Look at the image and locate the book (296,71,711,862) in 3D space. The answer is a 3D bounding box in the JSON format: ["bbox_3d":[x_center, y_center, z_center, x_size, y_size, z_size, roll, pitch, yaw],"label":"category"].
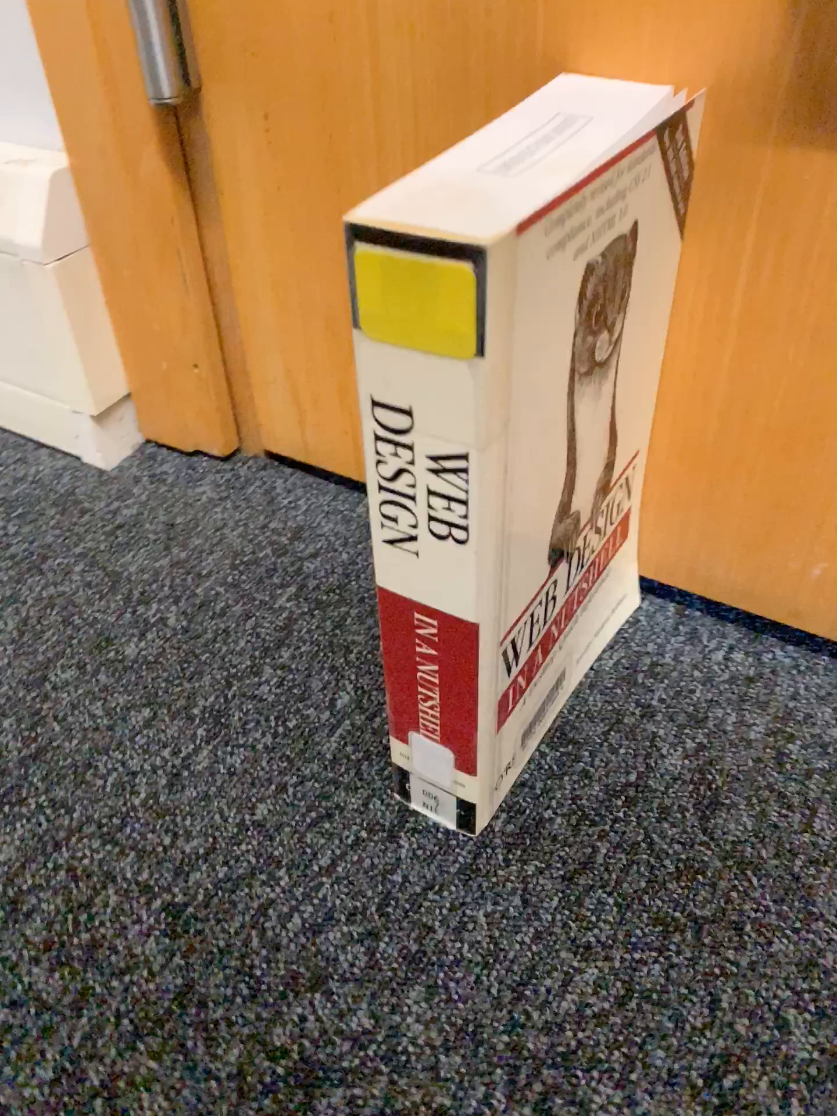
[{"bbox_3d":[0.039,-0.031,0.315,0.050,0.228,0.171,18,44,23],"label":"book"}]
